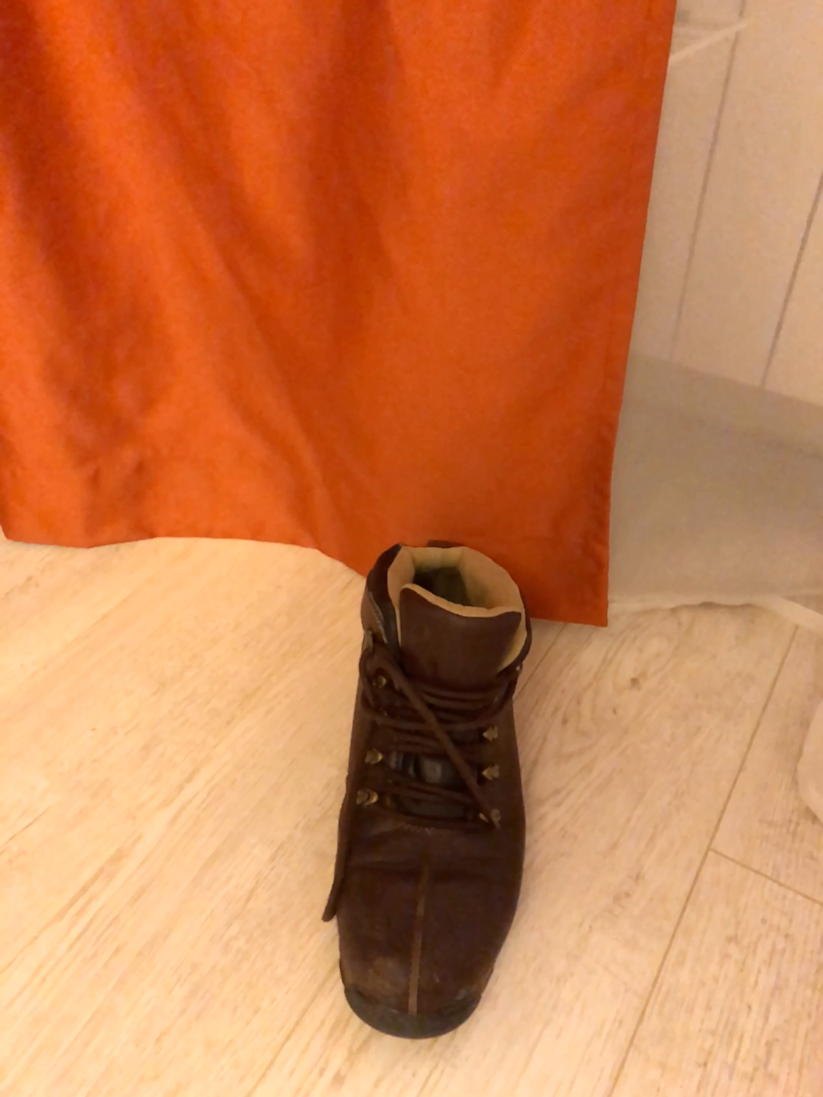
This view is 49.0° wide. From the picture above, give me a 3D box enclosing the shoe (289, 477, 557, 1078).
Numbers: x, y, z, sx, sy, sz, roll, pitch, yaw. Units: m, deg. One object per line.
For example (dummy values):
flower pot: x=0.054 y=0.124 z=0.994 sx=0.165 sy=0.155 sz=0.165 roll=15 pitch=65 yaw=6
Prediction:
shoe: x=0.015 y=0.114 z=0.536 sx=0.110 sy=0.159 sz=0.302 roll=4 pitch=40 yaw=3
